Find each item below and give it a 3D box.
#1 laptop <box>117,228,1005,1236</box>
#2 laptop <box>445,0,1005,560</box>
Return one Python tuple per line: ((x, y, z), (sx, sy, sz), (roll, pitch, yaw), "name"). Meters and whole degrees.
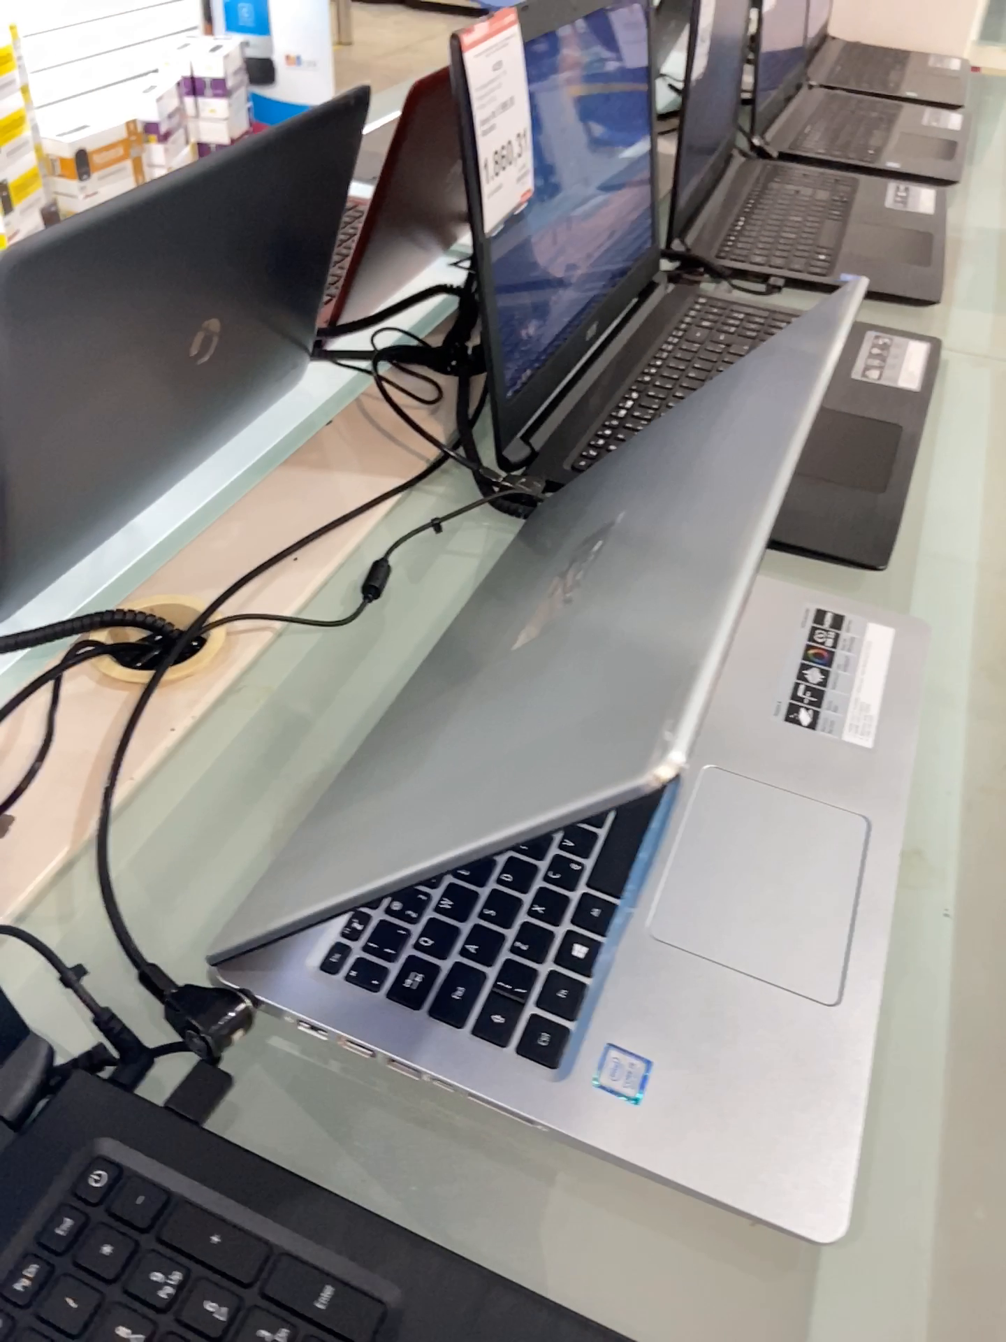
((0.067, -0.023, 0.433), (0.236, 0.175, 0.354), (17, 42, 14), "laptop")
((0.172, -0.305, 0.716), (0.287, 0.238, 0.356), (18, 43, 15), "laptop")
